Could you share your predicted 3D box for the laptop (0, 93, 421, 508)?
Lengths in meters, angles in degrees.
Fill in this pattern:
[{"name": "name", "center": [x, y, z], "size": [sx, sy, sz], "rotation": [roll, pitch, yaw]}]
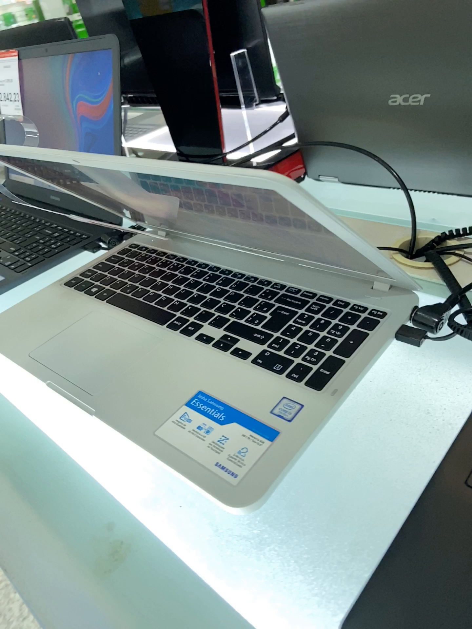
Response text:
[{"name": "laptop", "center": [-0.075, -0.063, 0.412], "size": [0.368, 0.162, 0.232], "rotation": [18, 45, 39]}]
